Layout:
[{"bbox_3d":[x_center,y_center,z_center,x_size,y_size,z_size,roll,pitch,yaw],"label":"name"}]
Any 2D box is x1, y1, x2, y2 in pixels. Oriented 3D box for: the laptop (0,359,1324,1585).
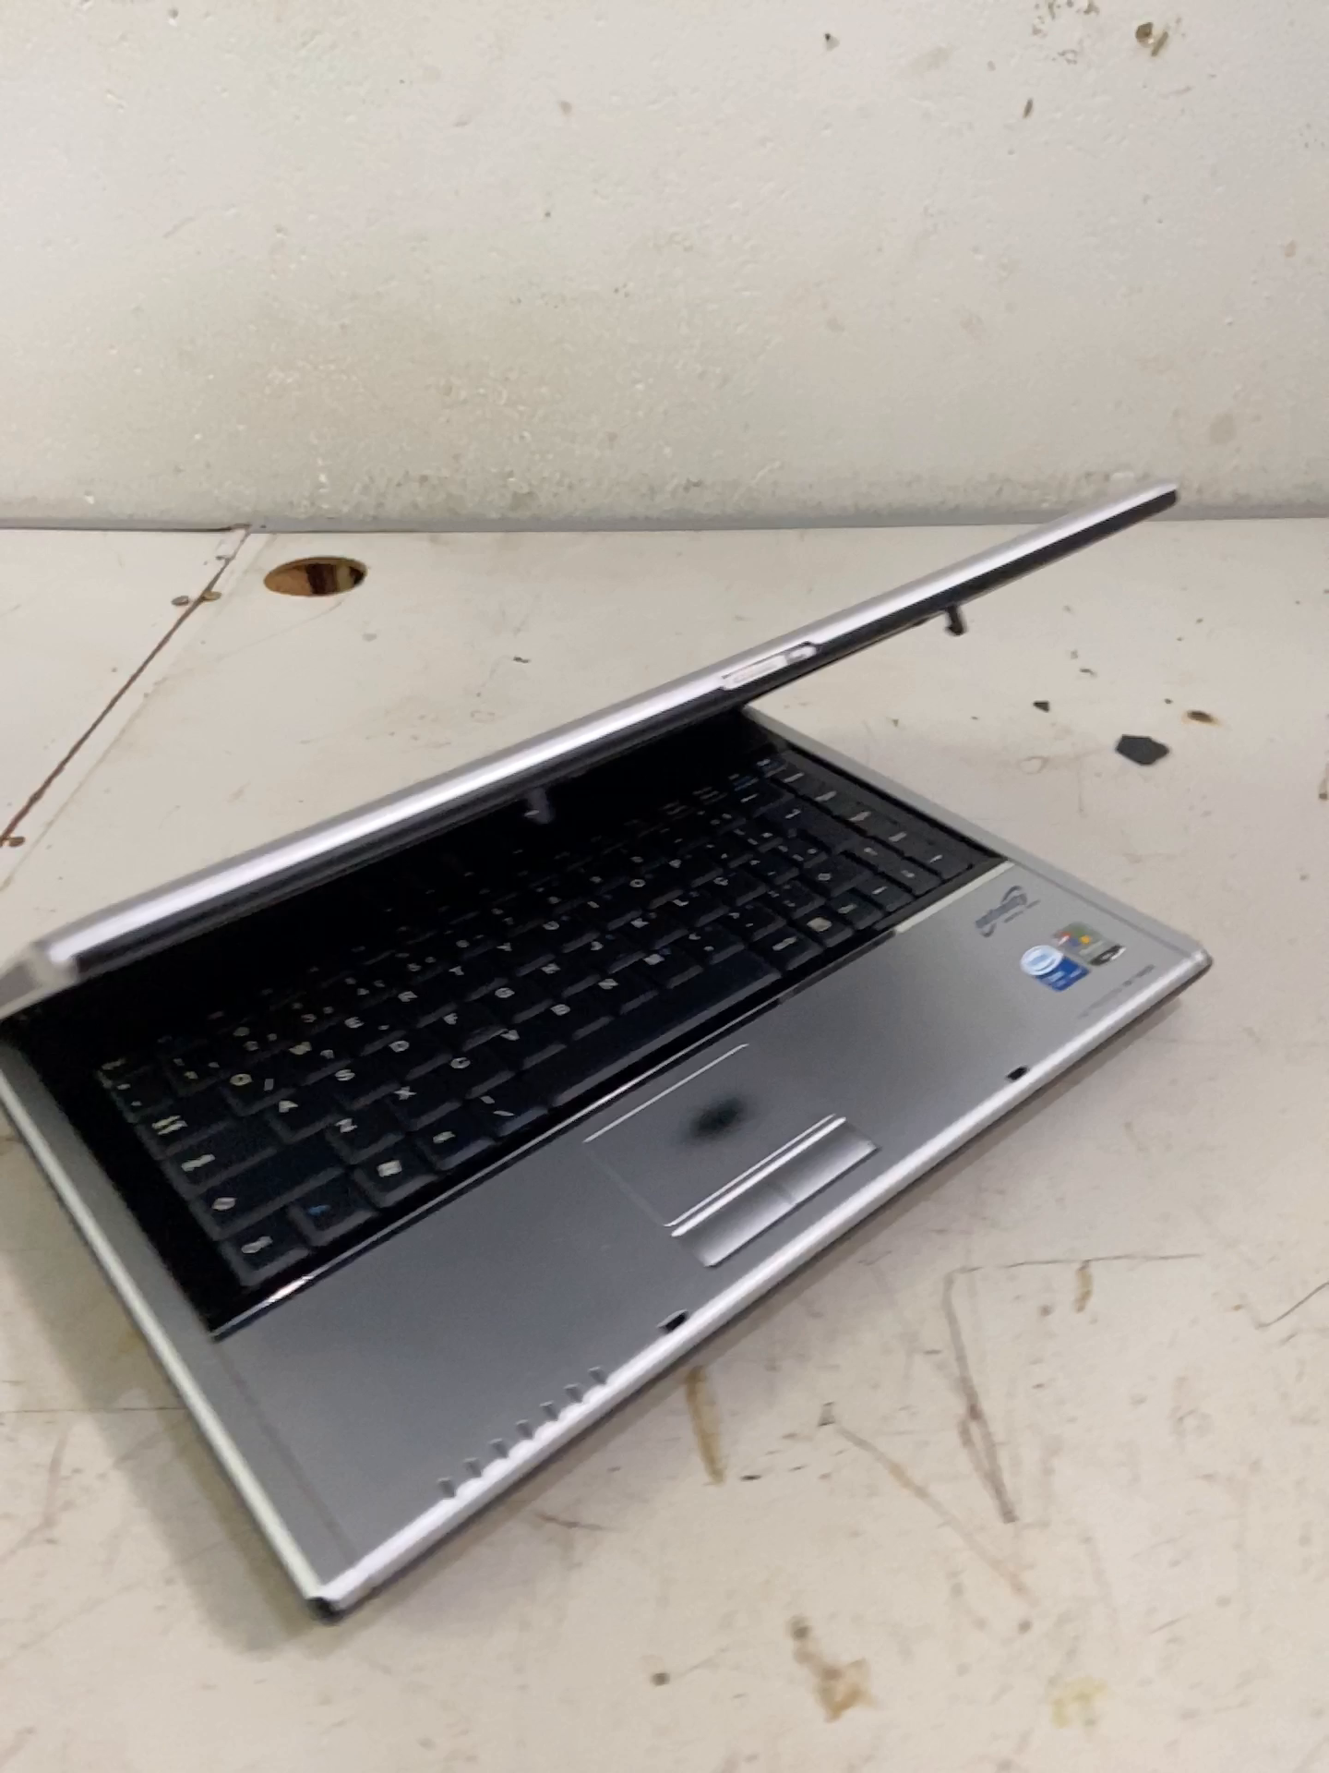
[{"bbox_3d":[-0.021,-0.025,0.394,0.320,0.144,0.227,-27,42,-30],"label":"laptop"}]
